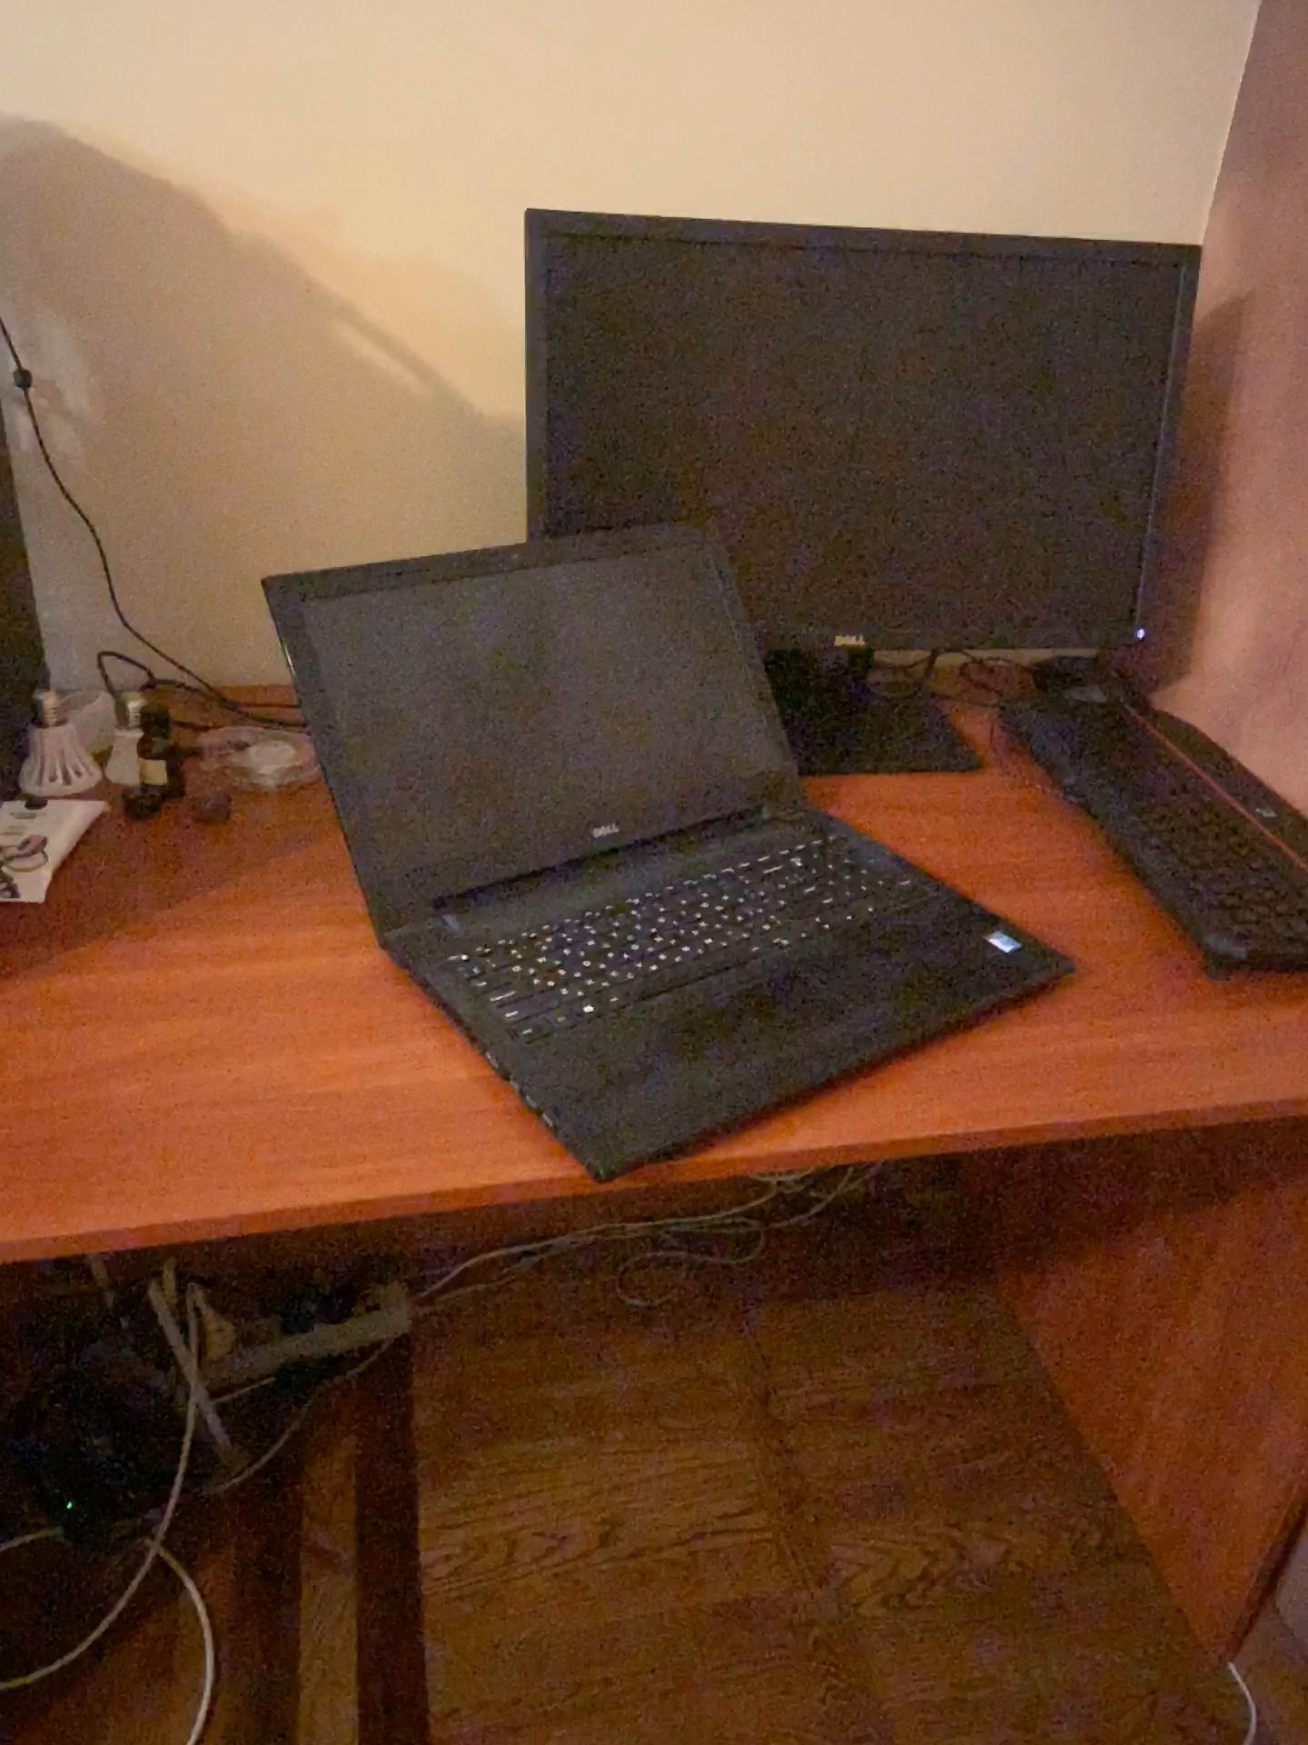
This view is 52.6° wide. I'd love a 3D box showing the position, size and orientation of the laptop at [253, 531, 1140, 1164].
[{"bbox_3d":[0.004,-0.060,0.824,0.356,0.181,0.393,-15,34,-32],"label":"laptop"}]
